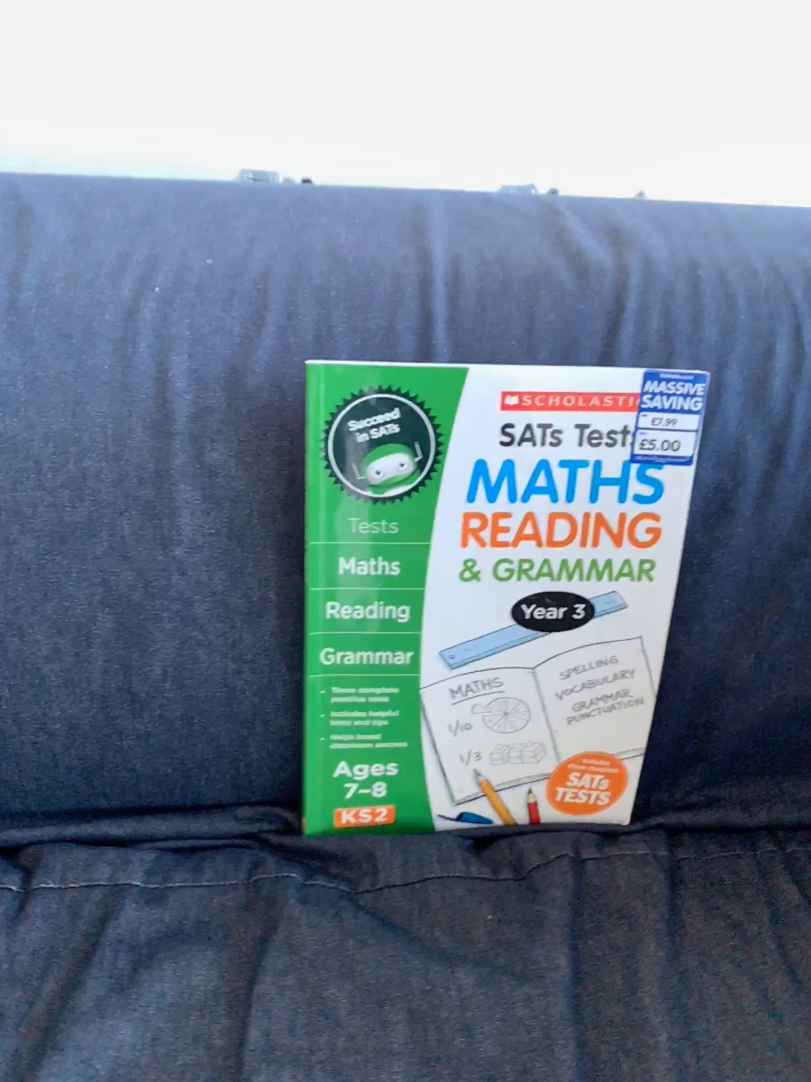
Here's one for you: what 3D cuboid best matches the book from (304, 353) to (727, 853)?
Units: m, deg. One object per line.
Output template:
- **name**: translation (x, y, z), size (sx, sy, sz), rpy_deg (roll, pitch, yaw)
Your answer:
- **book**: translation (0.049, 0.047, 0.469), size (0.209, 0.293, 0.022), rpy_deg (0, 23, -7)
